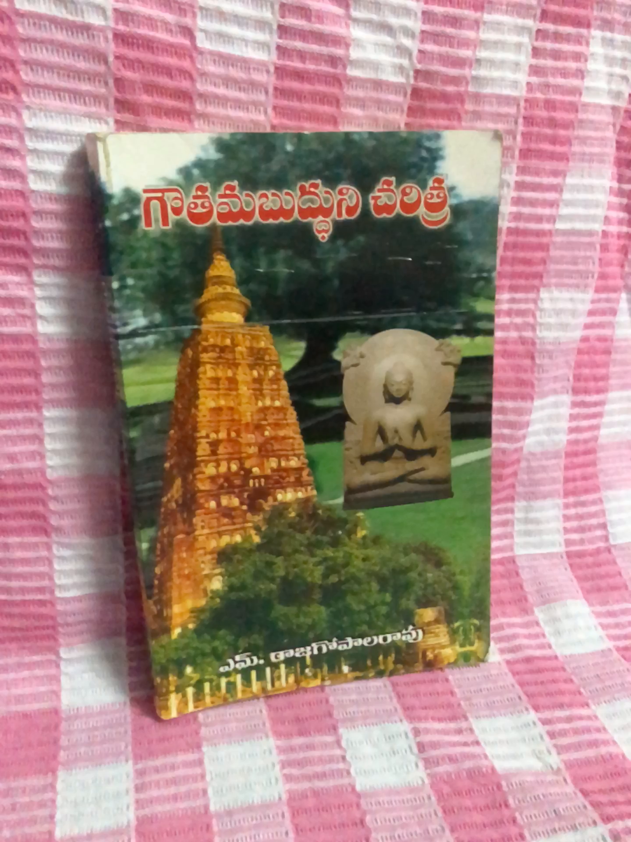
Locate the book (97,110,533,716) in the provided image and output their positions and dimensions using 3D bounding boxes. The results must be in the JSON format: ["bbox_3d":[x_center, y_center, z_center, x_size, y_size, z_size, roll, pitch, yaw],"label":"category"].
[{"bbox_3d":[0.003,0.000,0.263,0.140,0.209,0.030,-4,17,-12],"label":"book"}]
